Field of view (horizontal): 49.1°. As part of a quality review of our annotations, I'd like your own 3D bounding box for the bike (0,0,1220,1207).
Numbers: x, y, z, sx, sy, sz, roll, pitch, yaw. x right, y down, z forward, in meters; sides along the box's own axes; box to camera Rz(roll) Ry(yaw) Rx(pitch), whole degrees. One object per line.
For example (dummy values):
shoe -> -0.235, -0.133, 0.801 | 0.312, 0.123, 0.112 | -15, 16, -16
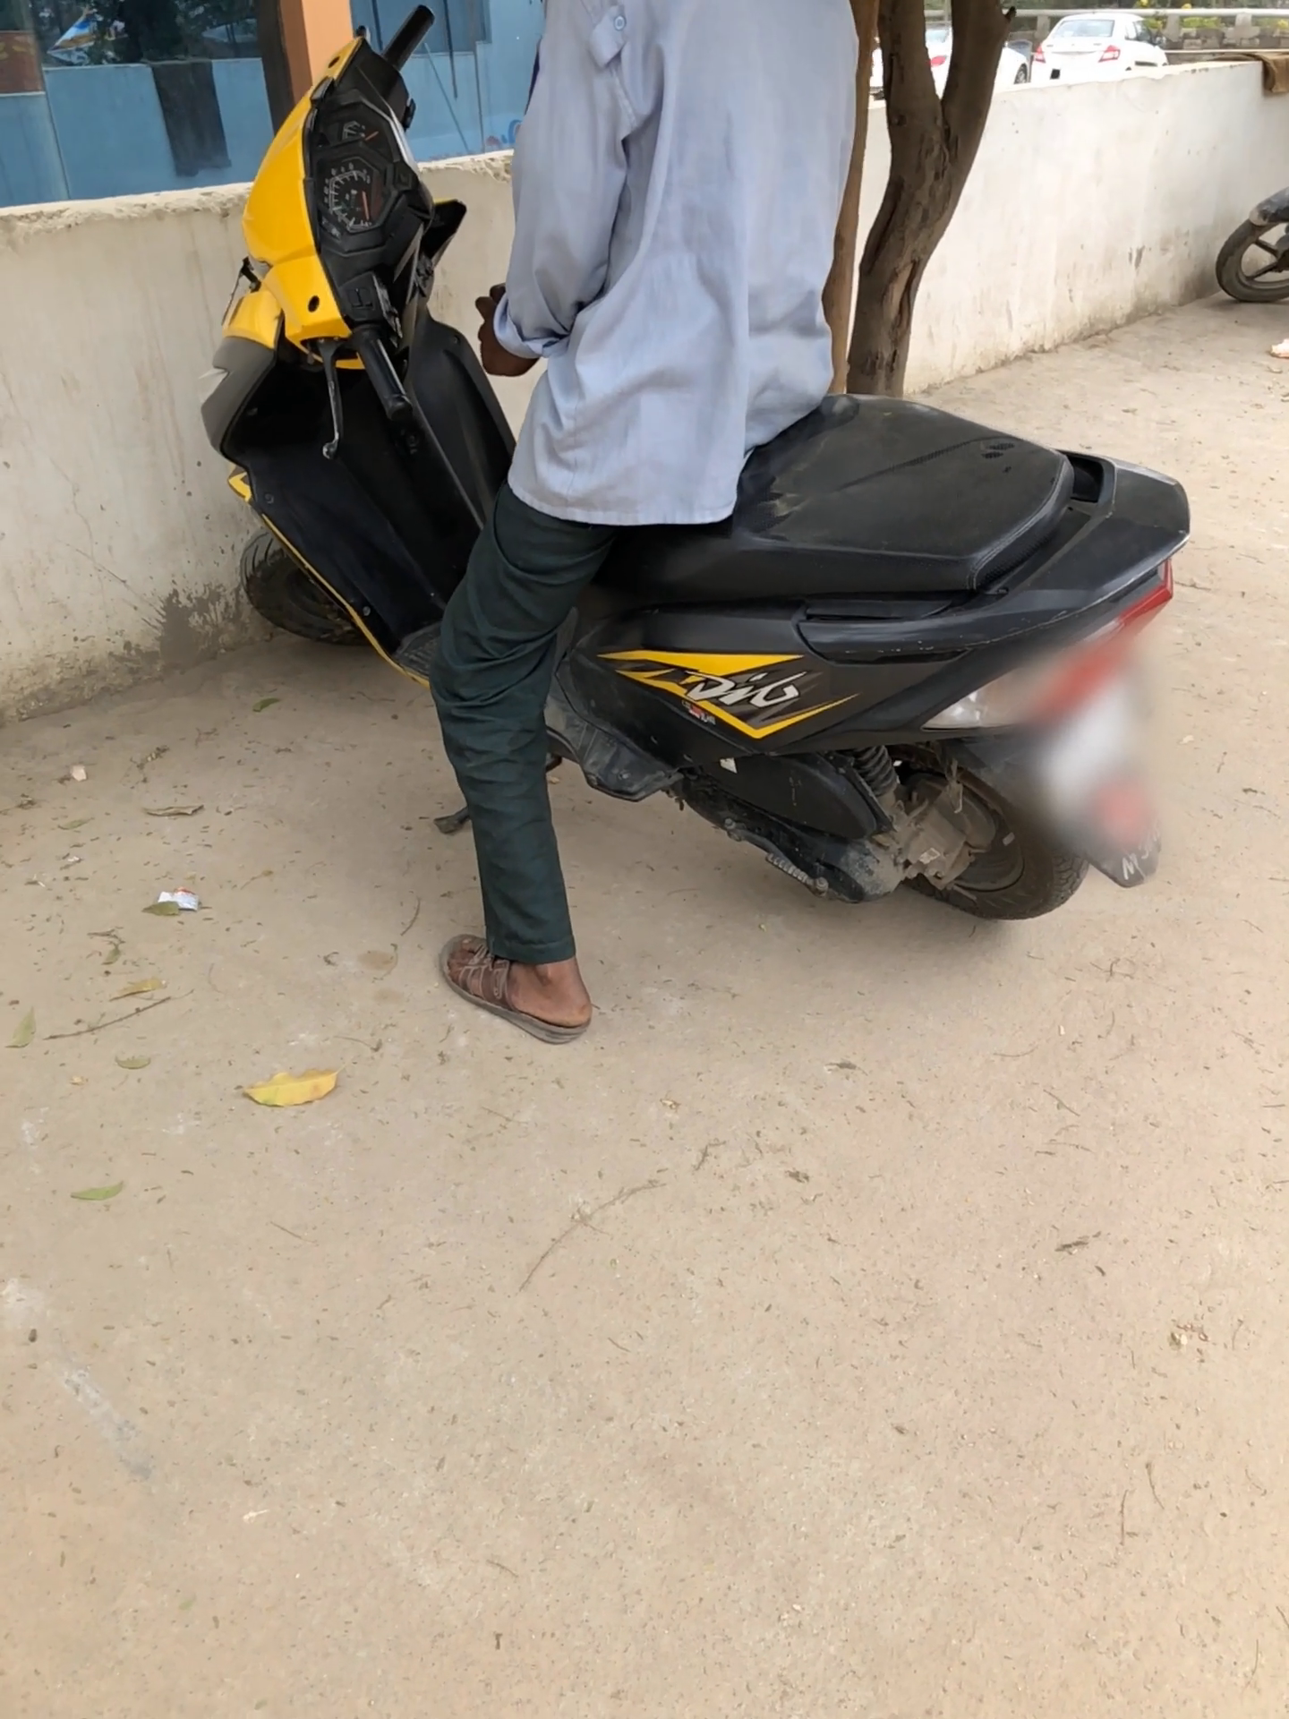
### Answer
bike -> -0.231, -0.498, 1.853 | 1.570, 1.145, 0.638 | 20, 37, 27
